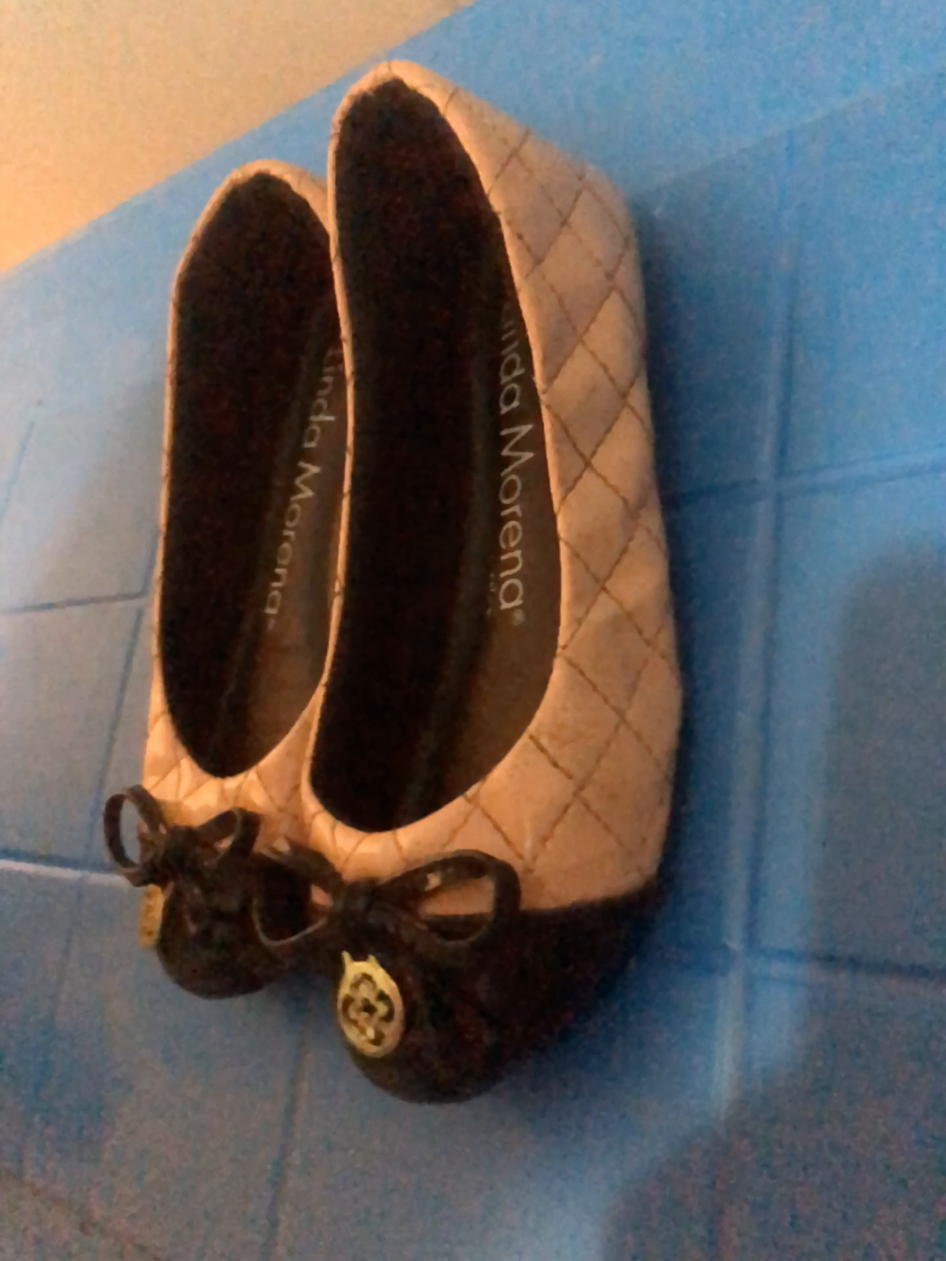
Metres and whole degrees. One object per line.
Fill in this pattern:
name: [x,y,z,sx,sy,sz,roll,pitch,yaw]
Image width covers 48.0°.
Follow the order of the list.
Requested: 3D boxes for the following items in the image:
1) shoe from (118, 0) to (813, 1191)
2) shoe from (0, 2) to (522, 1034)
shoe: [0.008,-0.016,0.193,0.070,0.080,0.190,-5,72,39]
shoe: [-0.052,-0.018,0.236,0.070,0.080,0.190,-3,73,39]
